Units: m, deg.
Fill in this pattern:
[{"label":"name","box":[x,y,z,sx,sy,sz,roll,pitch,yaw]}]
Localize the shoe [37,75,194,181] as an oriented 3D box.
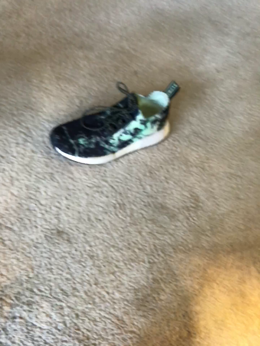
[{"label":"shoe","box":[-0.031,-0.101,0.606,0.287,0.100,0.131,-17,69,-21]}]
